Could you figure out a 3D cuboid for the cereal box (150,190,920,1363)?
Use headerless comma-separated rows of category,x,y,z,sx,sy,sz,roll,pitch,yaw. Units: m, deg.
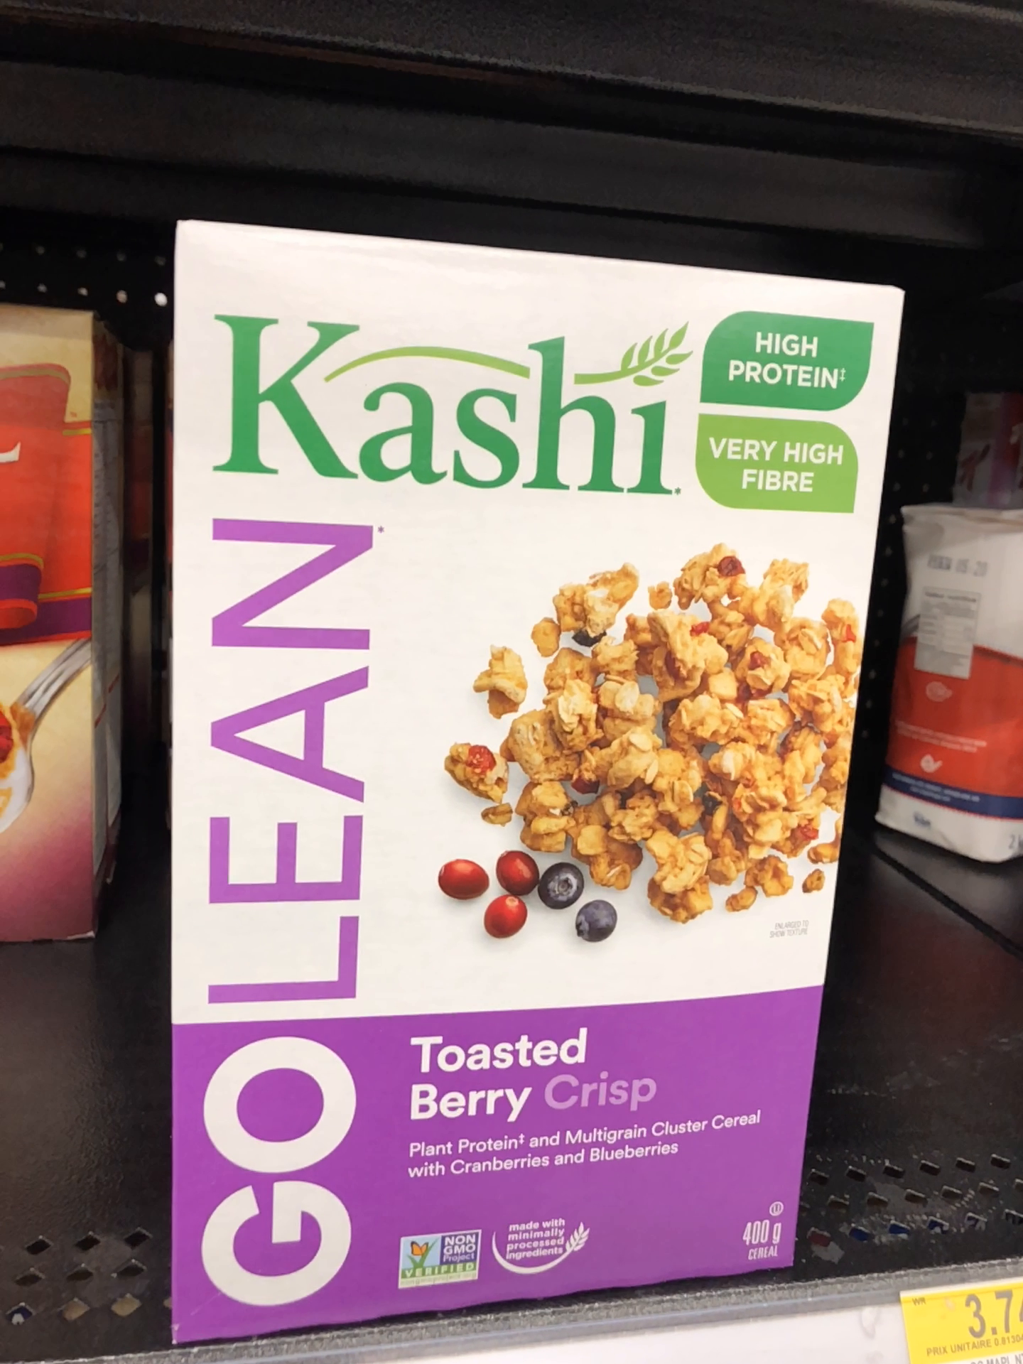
cereal box,-0.002,0.031,0.292,0.170,0.269,0.050,1,12,-14
